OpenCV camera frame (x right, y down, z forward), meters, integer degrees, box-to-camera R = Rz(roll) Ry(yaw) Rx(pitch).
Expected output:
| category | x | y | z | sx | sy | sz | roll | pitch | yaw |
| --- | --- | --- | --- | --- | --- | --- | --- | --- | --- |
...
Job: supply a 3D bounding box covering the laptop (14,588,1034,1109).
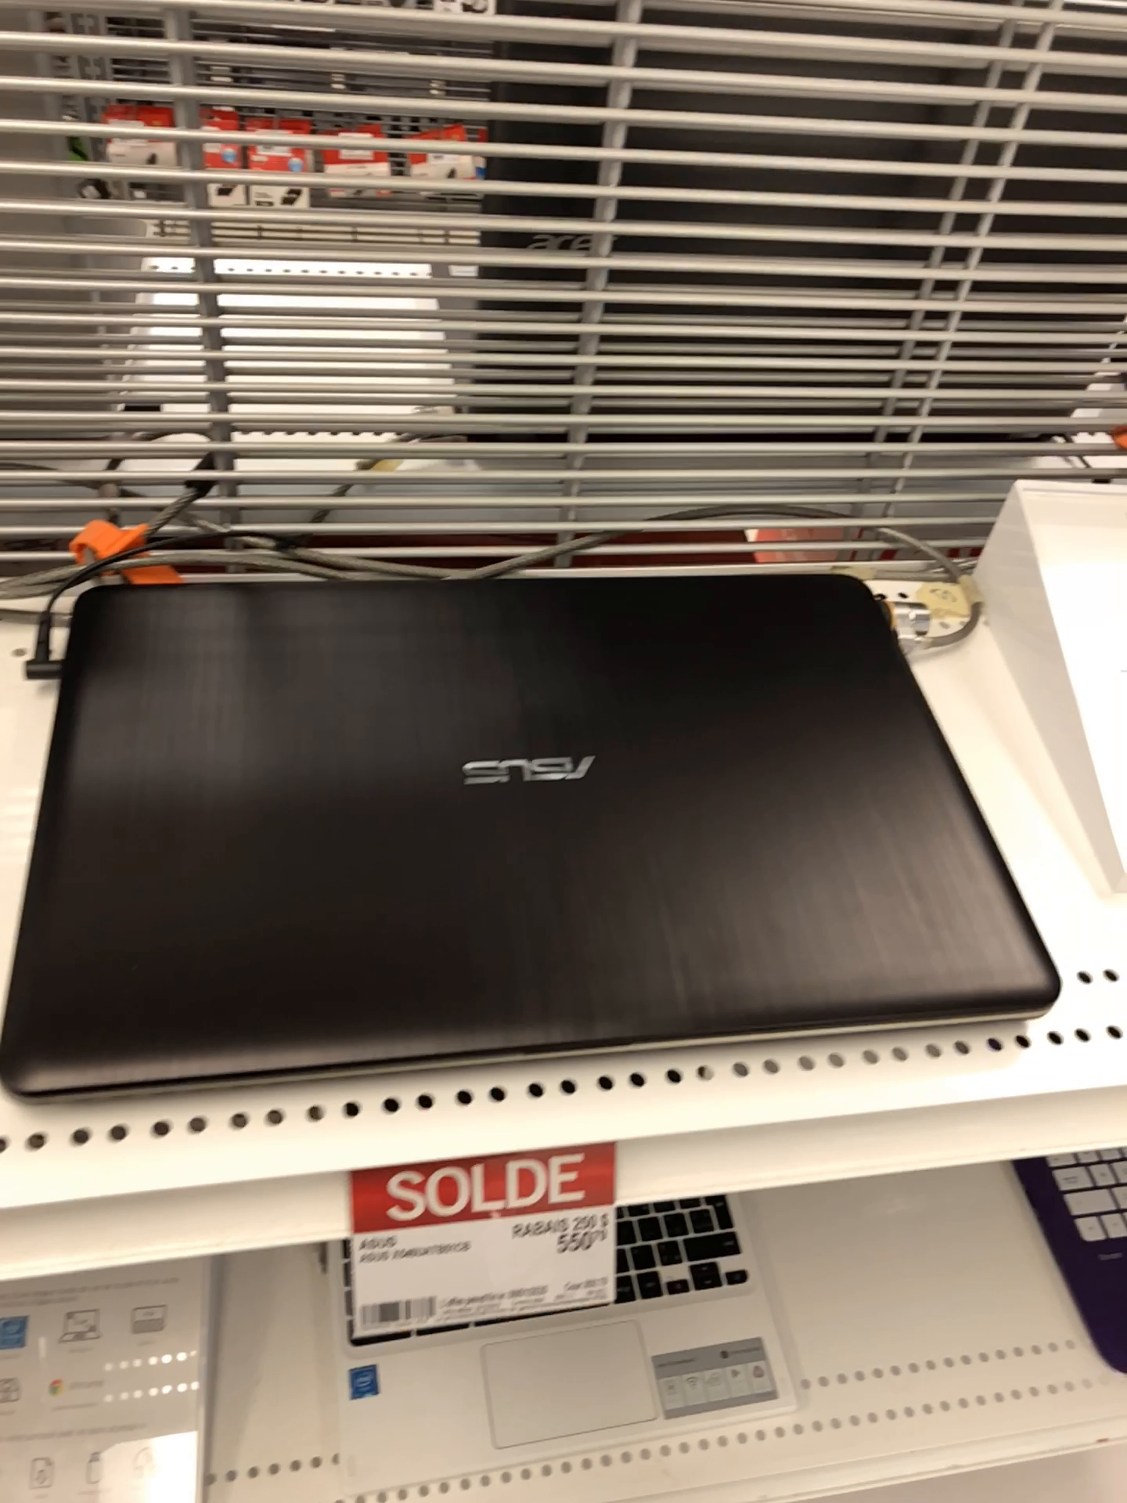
| category | x | y | z | sx | sy | sz | roll | pitch | yaw |
| --- | --- | --- | --- | --- | --- | --- | --- | --- | --- |
| laptop | -0.013 | 0.016 | 0.519 | 0.367 | 0.013 | 0.235 | -2 | 48 | -13 |
